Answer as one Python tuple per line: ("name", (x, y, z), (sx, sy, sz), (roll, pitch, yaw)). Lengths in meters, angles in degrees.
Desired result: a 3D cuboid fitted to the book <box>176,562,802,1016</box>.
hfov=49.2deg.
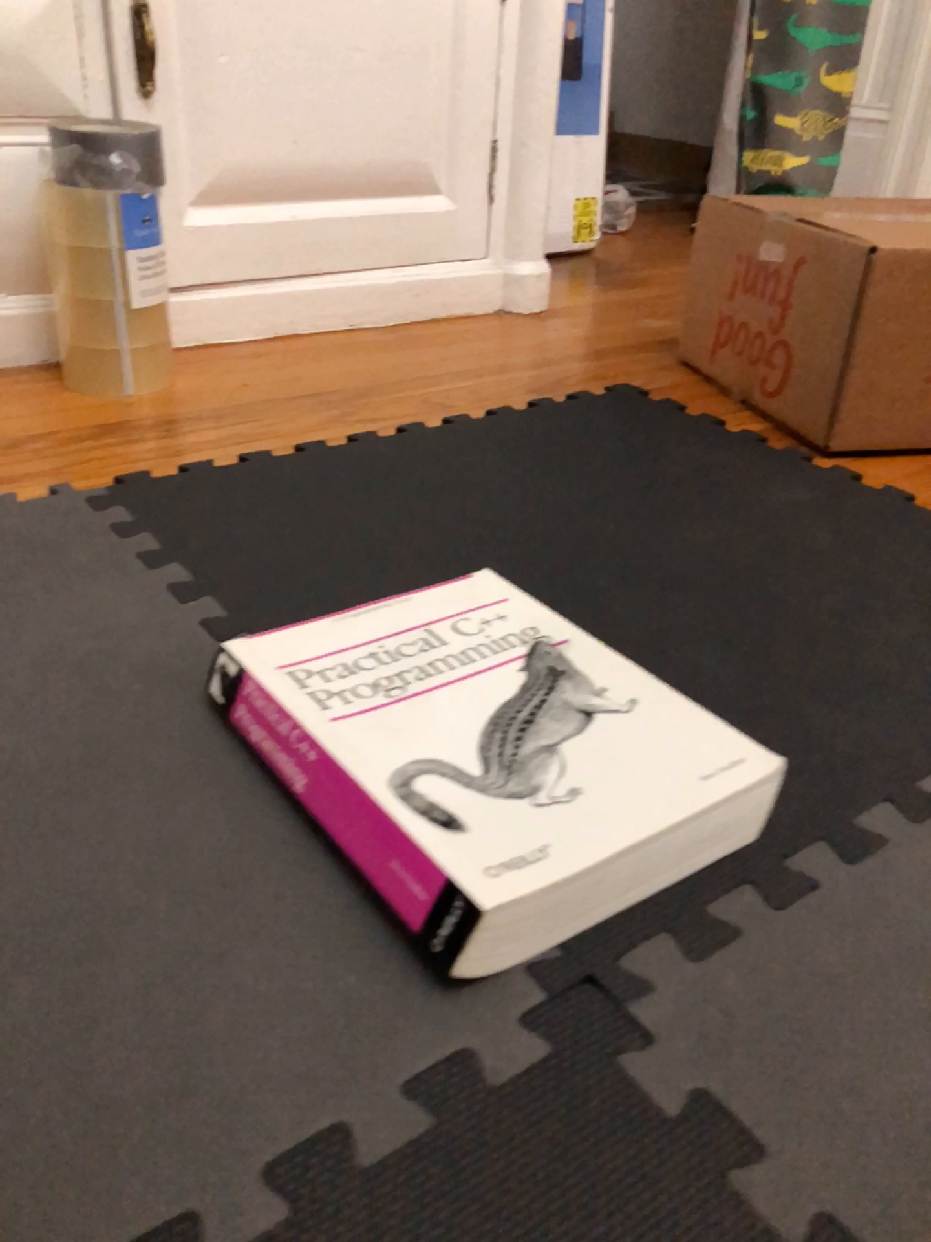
("book", (0.001, 0.055, 0.514), (0.200, 0.050, 0.251), (-11, 33, -36))
